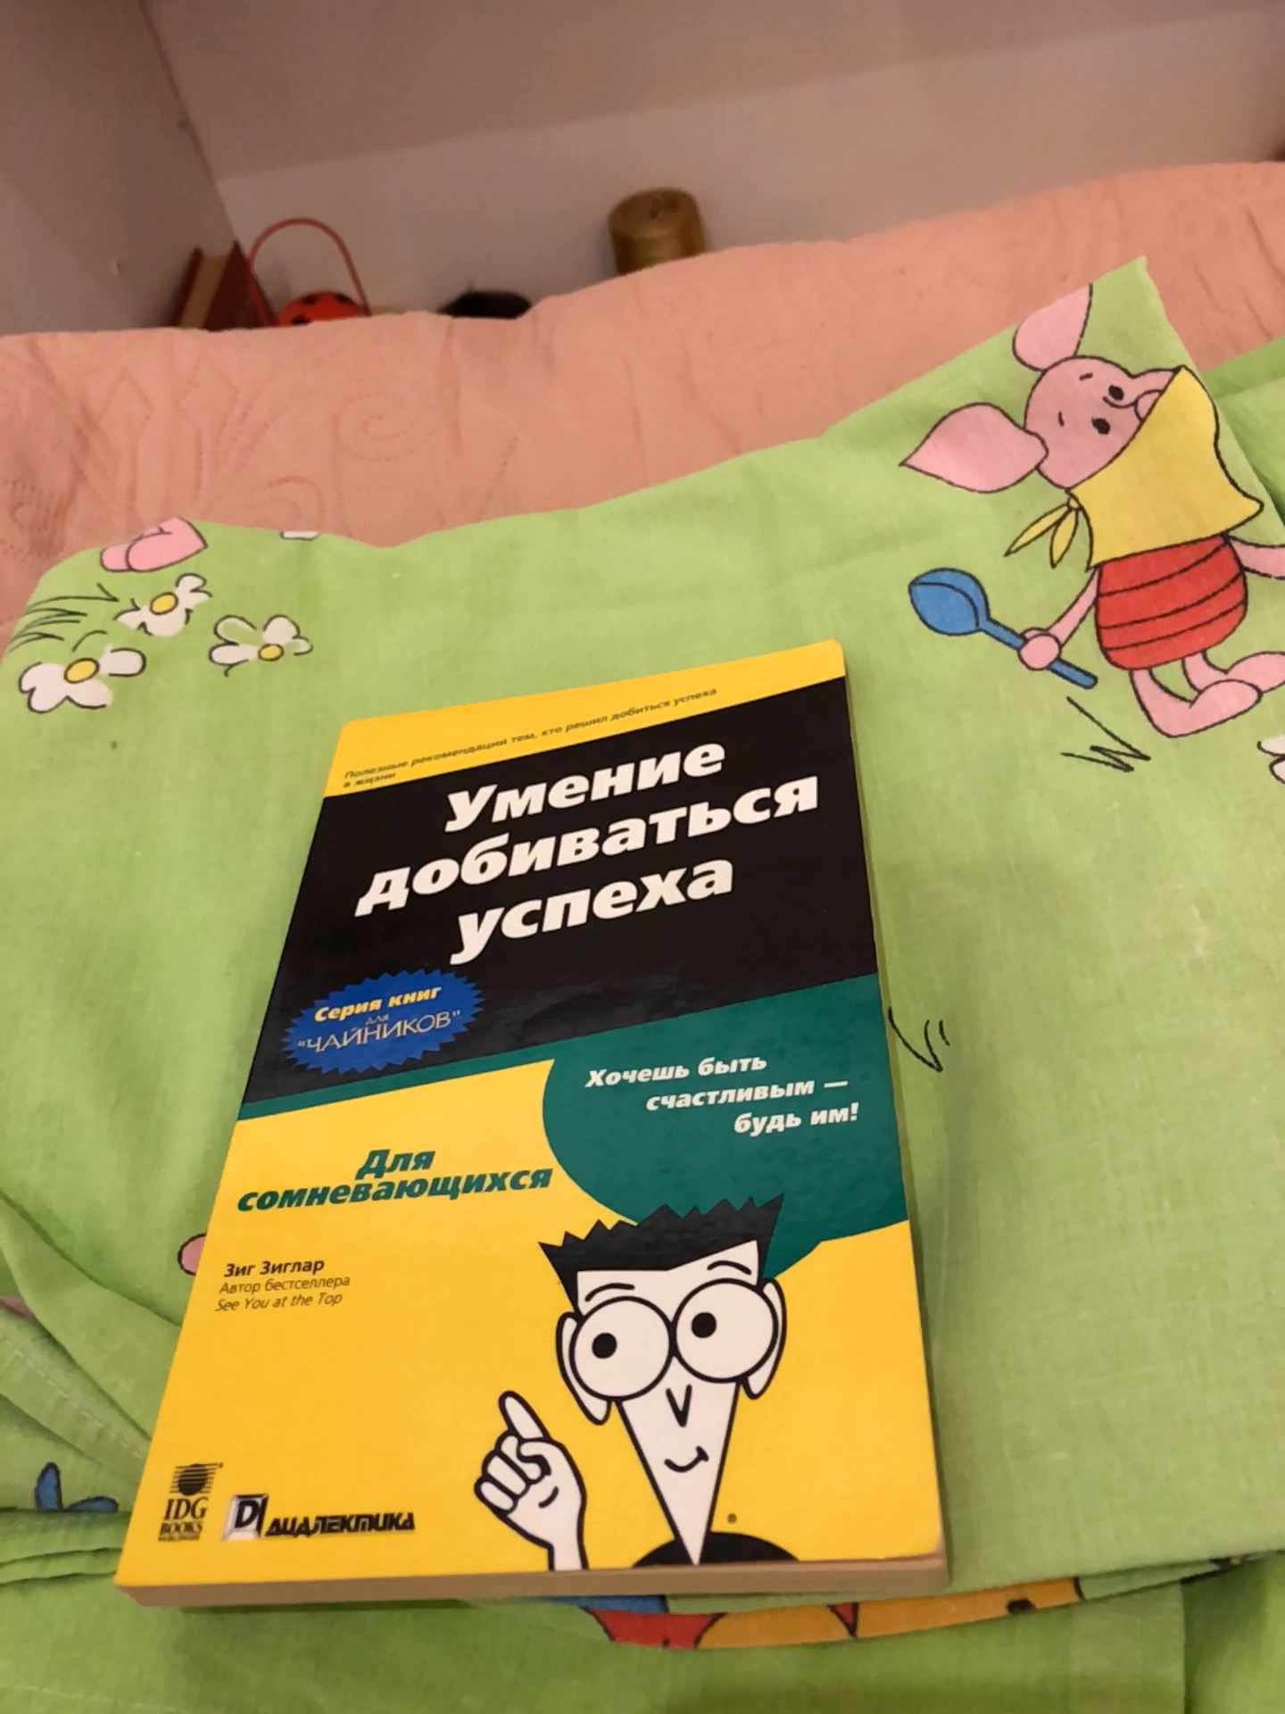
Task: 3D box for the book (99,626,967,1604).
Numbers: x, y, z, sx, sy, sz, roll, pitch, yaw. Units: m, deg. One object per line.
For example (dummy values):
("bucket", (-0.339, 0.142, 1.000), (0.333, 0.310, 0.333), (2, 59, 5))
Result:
("book", (-0.015, 0.032, 0.269), (0.125, 0.015, 0.192), (-8, 46, 11))
